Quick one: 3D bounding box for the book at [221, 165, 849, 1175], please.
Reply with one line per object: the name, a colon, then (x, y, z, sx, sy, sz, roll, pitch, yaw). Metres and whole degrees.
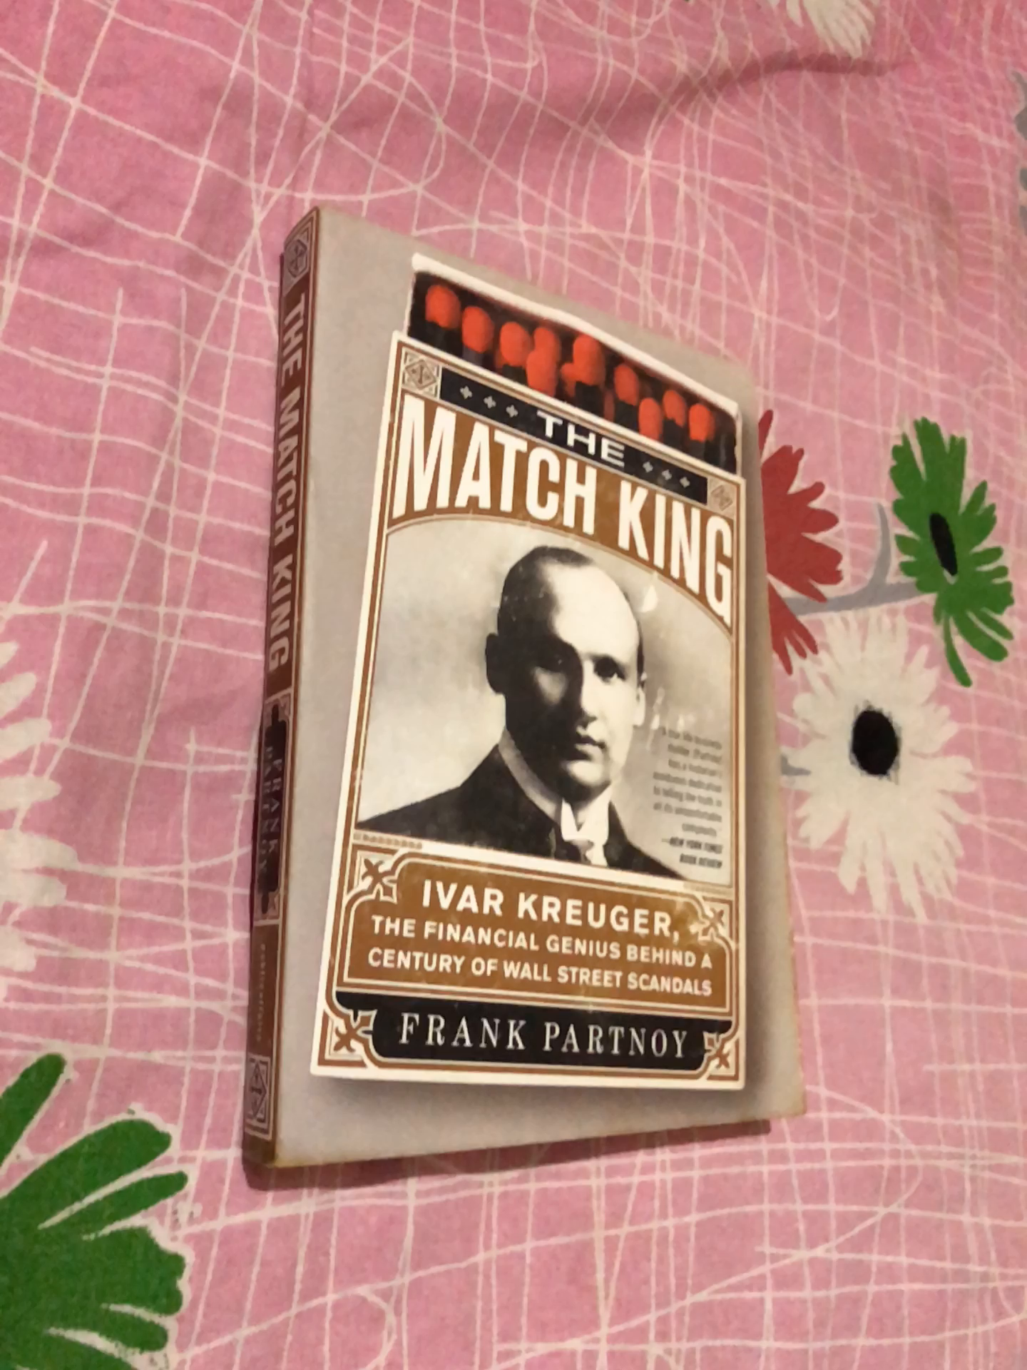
book: (0.008, -0.004, 0.311, 0.161, 0.030, 0.240, 11, 65, -34)
